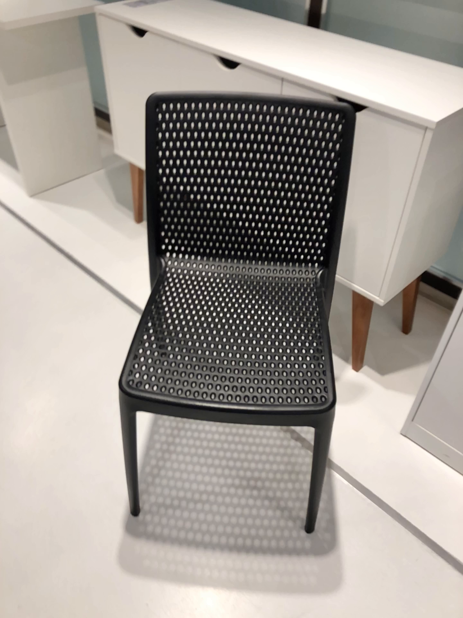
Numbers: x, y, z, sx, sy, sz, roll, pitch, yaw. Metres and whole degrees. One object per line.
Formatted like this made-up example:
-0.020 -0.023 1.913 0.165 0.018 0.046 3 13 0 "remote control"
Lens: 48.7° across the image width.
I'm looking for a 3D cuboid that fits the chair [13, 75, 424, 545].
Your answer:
-0.009 0.030 1.172 0.530 0.864 0.604 4 43 2 "chair"
